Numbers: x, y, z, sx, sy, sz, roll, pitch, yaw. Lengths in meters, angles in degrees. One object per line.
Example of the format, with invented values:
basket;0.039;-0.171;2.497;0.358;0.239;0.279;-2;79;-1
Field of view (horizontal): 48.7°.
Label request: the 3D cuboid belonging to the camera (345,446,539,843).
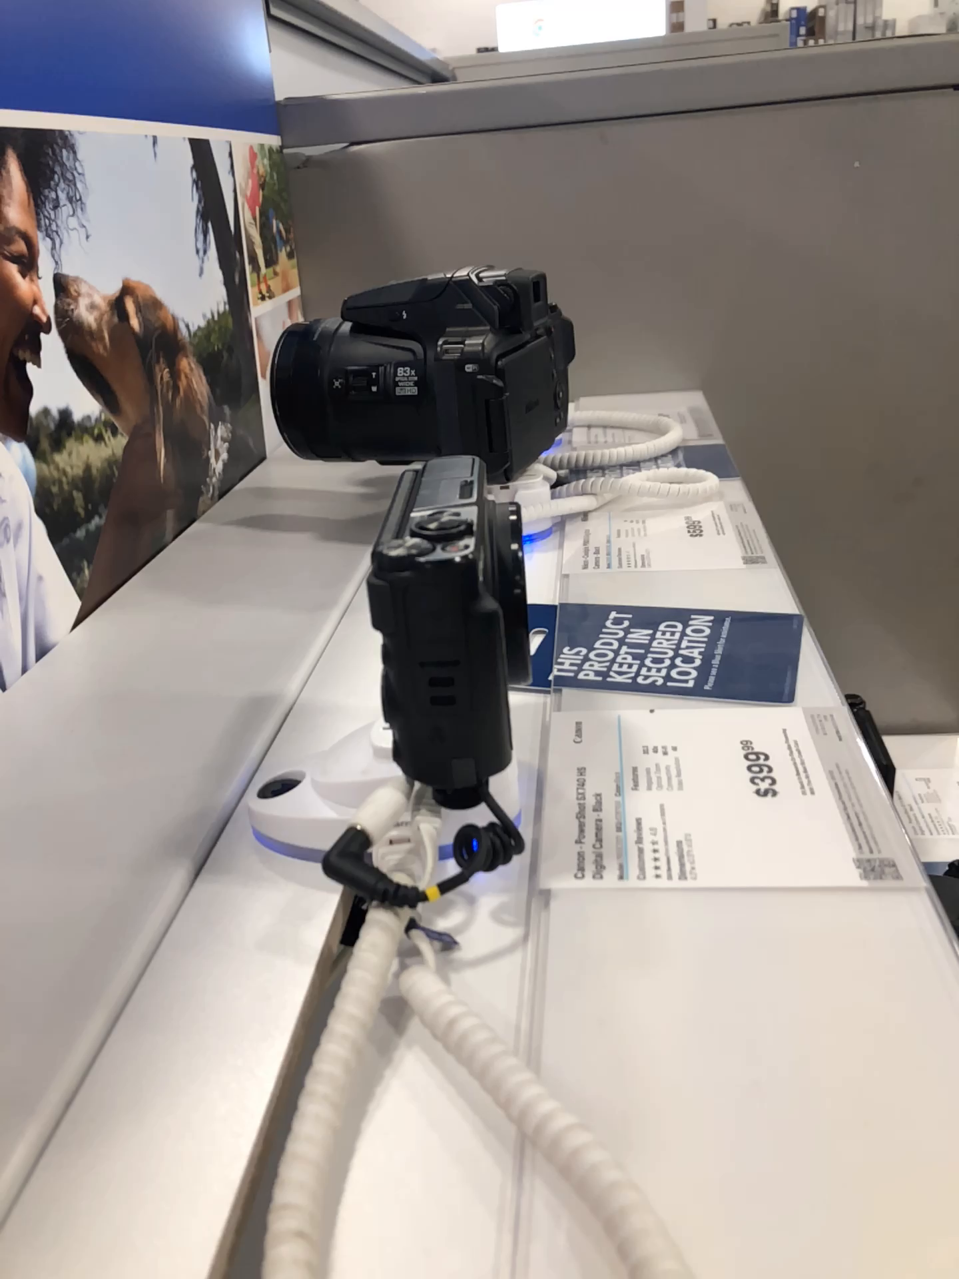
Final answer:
camera;-0.009;-0.006;0.309;0.040;0.070;0.121;-5;24;1
